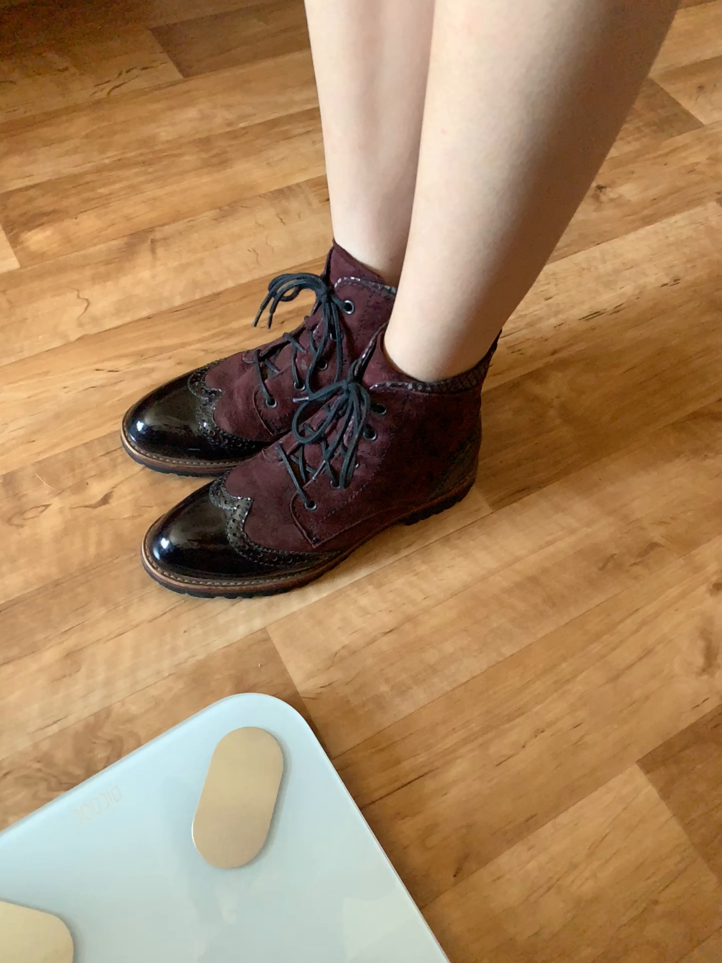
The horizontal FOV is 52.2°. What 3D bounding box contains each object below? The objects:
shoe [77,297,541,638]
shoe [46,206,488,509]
[{"bbox_3d":[-0.033,-0.009,0.504,0.260,0.140,0.100,-20,65,-16],"label":"shoe"},{"bbox_3d":[-0.063,-0.087,0.527,0.260,0.140,0.100,-14,64,-14],"label":"shoe"}]
